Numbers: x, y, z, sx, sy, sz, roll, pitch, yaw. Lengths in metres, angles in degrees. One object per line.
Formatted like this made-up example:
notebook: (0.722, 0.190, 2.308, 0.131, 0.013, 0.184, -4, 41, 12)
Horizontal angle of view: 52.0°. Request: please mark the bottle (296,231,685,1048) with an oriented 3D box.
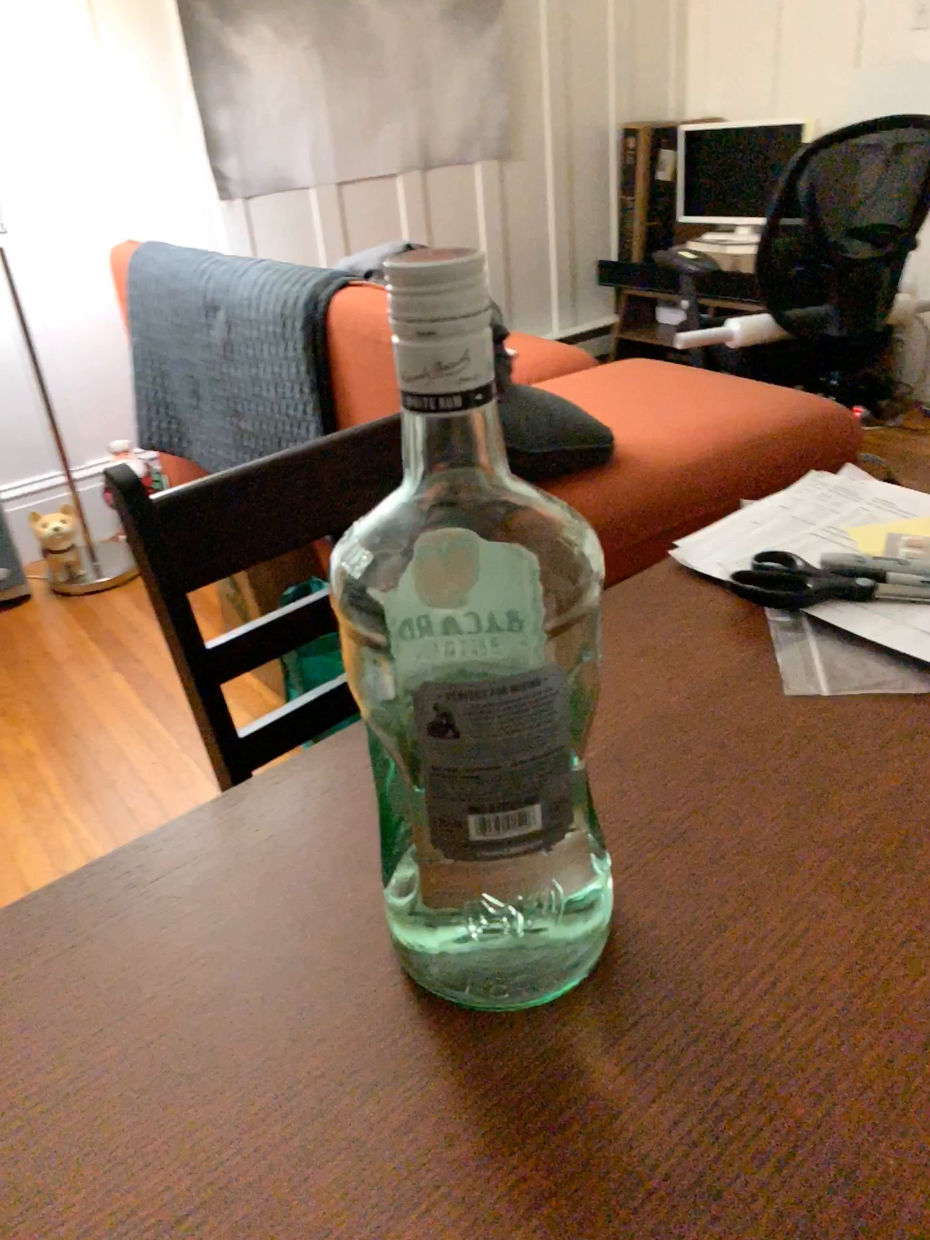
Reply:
bottle: (0.014, 0.018, 0.420, 0.120, 0.328, 0.121, -4, 29, 2)
